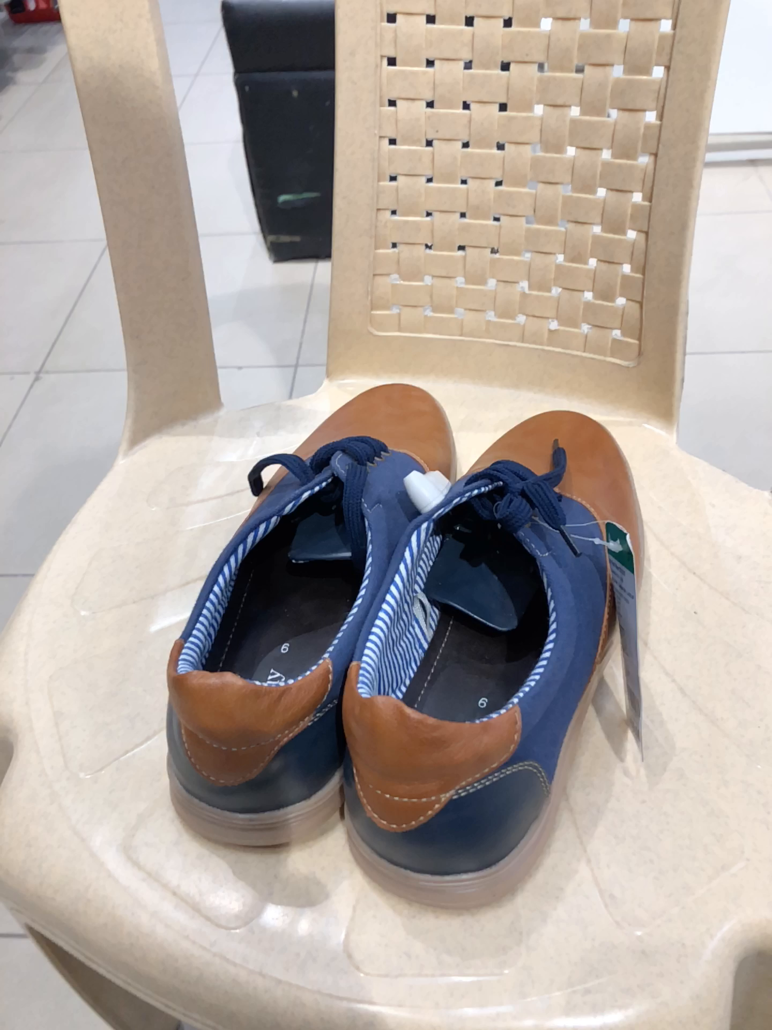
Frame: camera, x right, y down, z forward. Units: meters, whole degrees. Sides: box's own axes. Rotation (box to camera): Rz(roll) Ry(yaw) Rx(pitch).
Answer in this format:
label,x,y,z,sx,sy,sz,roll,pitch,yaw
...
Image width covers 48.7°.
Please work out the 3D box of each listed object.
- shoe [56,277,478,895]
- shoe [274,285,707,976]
label,x,y,z,sx,sy,sz,roll,pitch,yaw
shoe,-0.026,0.013,0.386,0.103,0.112,0.255,5,48,11
shoe,0.060,0.029,0.362,0.103,0.119,0.252,11,49,15
